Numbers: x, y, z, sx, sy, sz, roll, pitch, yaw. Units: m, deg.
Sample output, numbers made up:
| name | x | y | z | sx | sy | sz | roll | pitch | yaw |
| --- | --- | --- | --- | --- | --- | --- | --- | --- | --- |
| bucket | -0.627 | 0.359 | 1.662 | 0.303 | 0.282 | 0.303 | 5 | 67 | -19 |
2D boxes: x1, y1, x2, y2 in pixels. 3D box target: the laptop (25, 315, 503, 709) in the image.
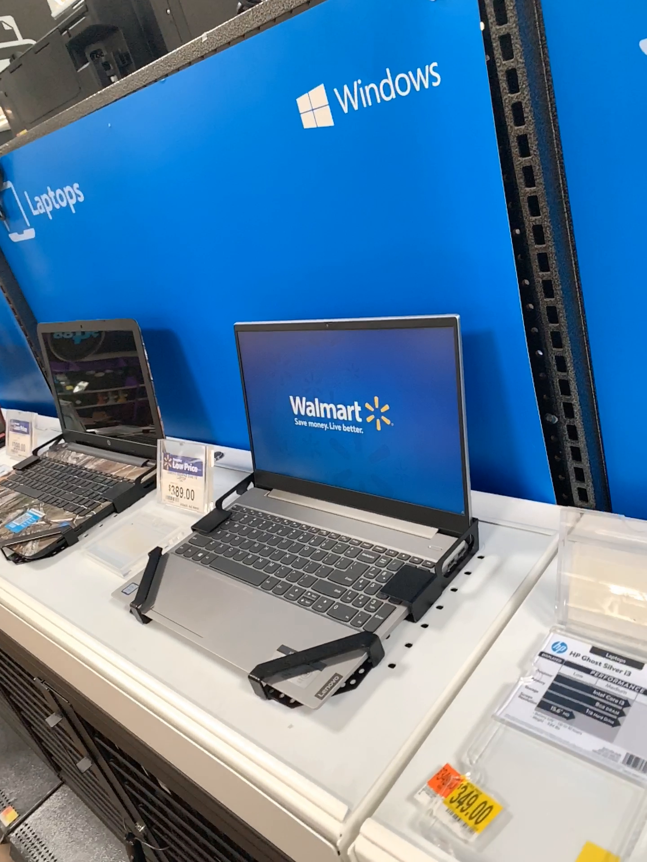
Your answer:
| name | x | y | z | sx | sy | sz | roll | pitch | yaw |
| --- | --- | --- | --- | --- | --- | --- | --- | --- | --- |
| laptop | -0.062 | 0.044 | 0.703 | 0.351 | 0.217 | 0.298 | 7 | 34 | 46 |
